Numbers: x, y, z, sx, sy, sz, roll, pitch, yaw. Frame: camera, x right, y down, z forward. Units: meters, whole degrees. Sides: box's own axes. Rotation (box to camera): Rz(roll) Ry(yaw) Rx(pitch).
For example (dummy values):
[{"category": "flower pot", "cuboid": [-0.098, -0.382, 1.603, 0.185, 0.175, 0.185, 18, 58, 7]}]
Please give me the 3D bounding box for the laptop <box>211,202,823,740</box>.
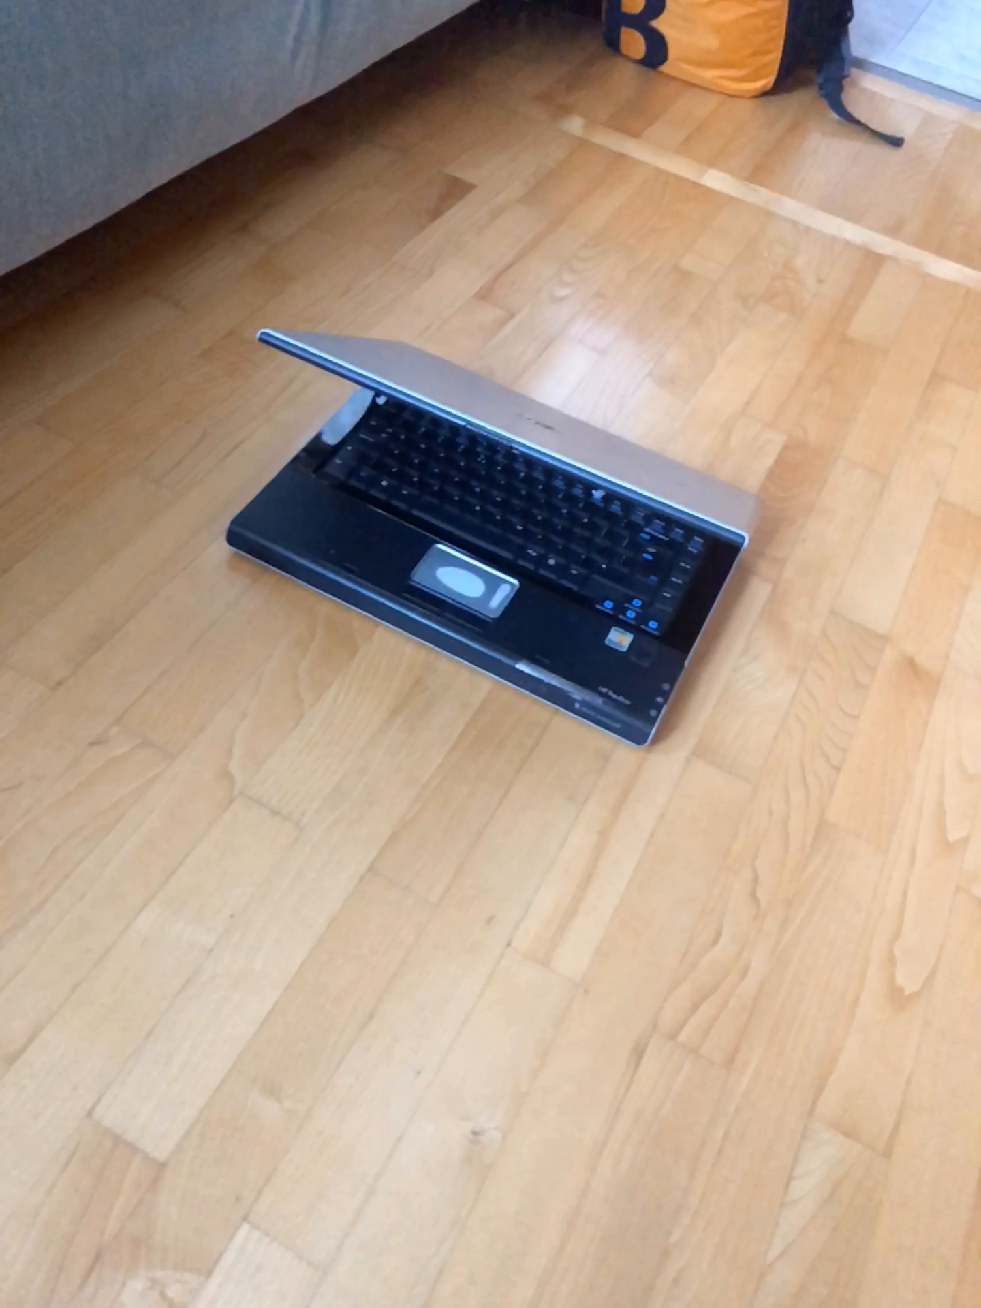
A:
[{"category": "laptop", "cuboid": [0.022, -0.154, 0.827, 0.361, 0.147, 0.269, 26, 53, 10]}]
